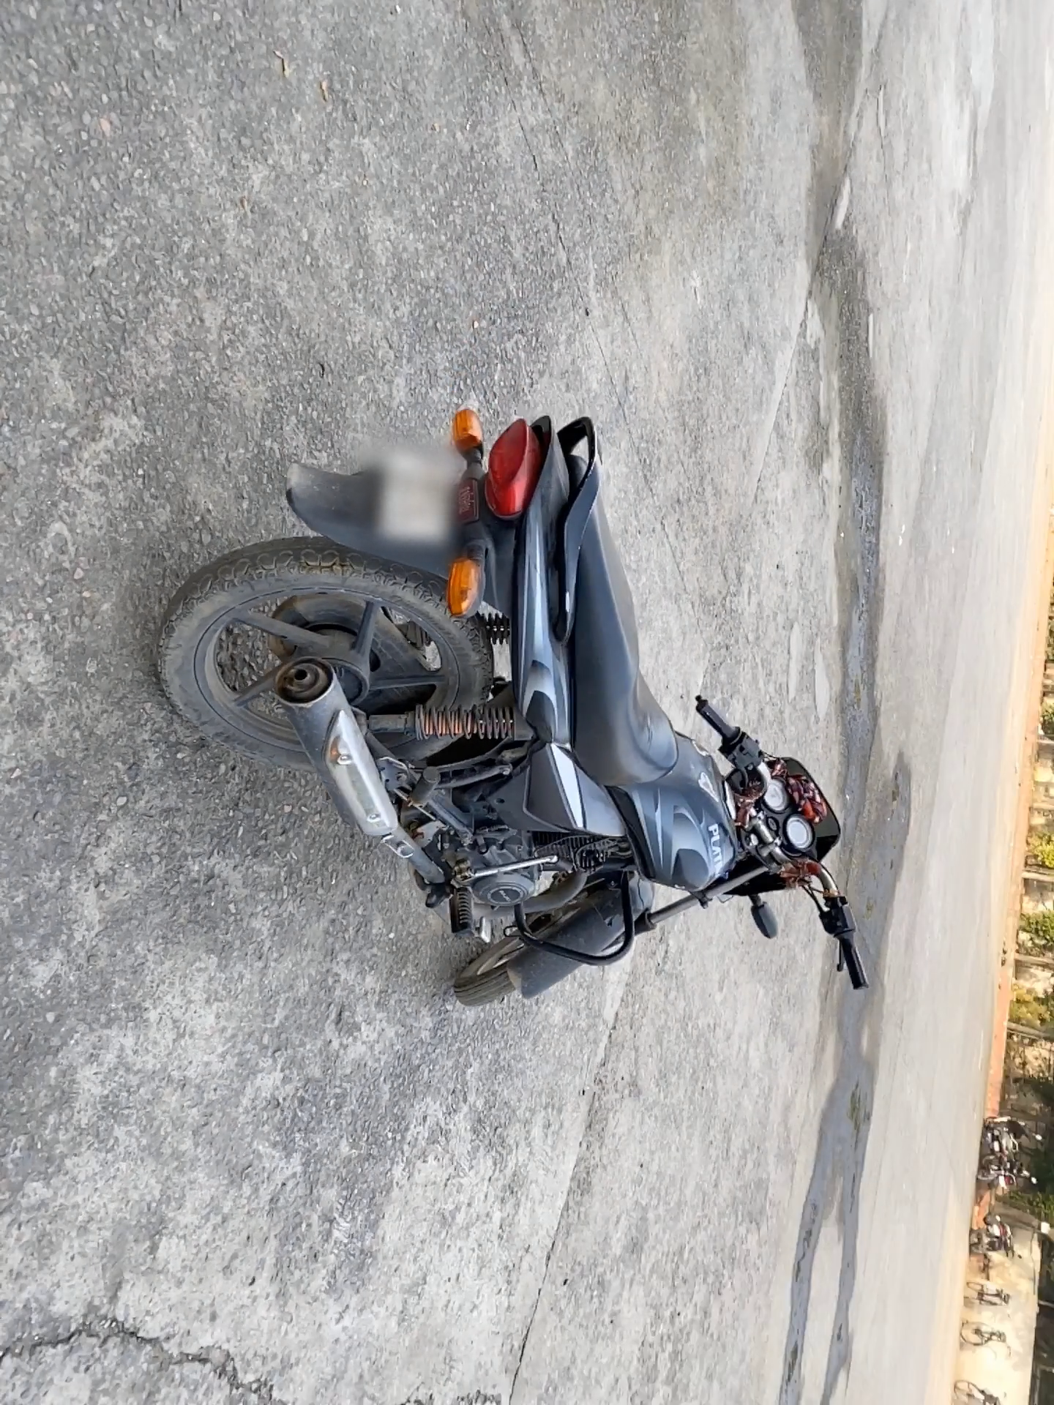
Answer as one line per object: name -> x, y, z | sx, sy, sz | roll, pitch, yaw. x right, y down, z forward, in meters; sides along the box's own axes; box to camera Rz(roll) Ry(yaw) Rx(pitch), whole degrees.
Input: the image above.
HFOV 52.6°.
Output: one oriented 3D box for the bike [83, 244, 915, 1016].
bike -> 0.189, 0.006, 2.364 | 1.746, 1.078, 0.772 | 54, 48, -53
